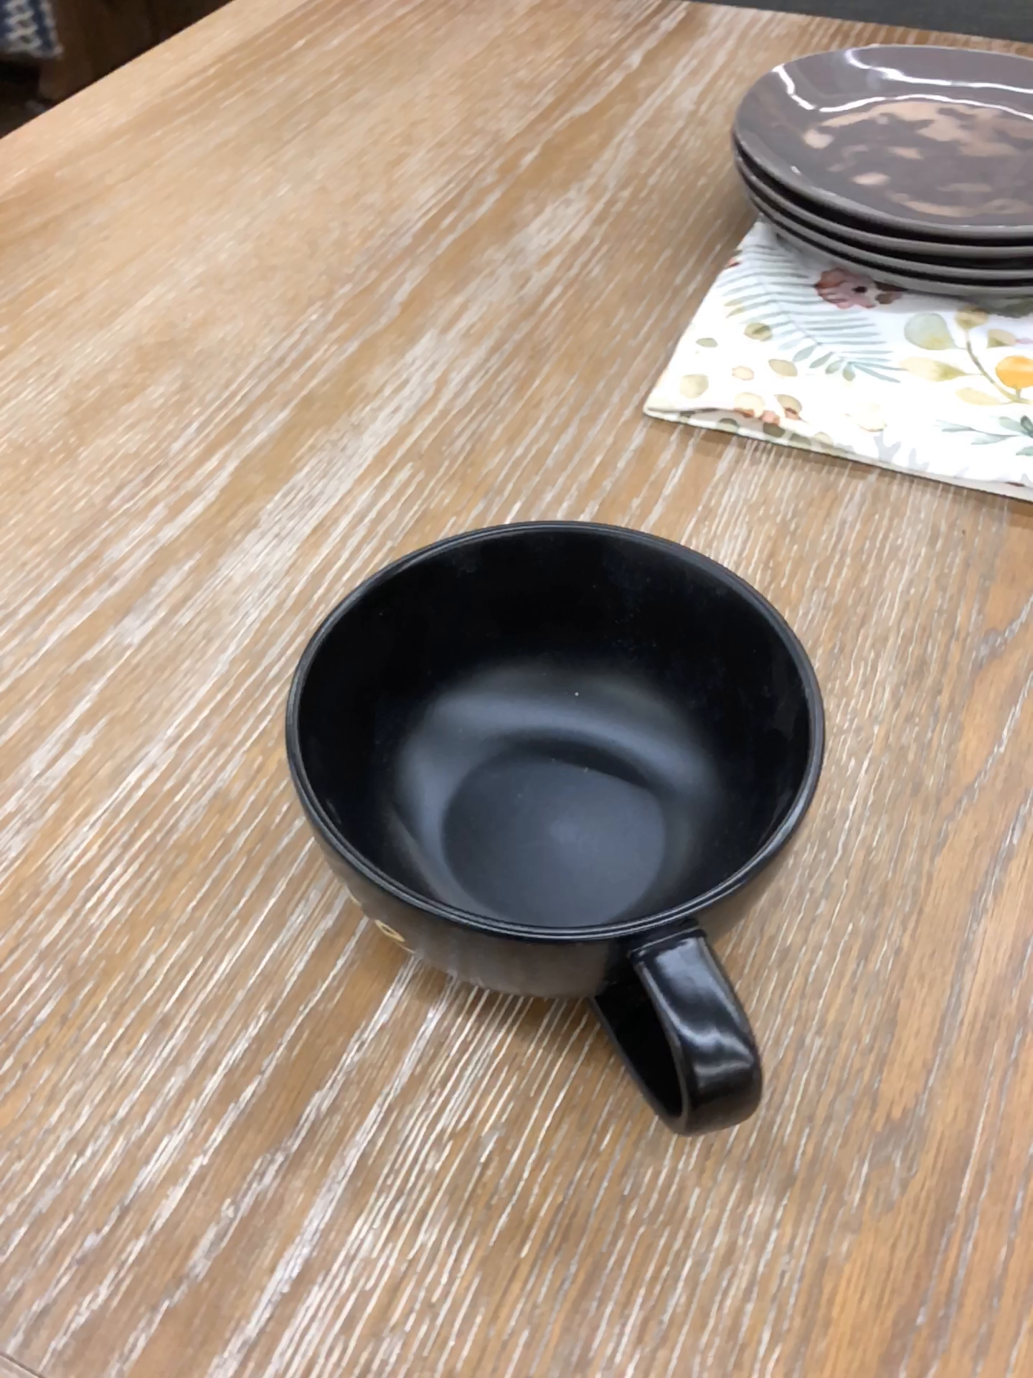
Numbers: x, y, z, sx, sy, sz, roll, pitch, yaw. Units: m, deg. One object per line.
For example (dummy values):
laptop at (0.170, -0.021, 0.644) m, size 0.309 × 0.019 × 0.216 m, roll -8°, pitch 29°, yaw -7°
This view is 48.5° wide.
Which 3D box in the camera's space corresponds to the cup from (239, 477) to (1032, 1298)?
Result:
cup at (0.018, 0.033, 0.295) m, size 0.137 × 0.054 × 0.175 m, roll -16°, pitch 49°, yaw -12°
